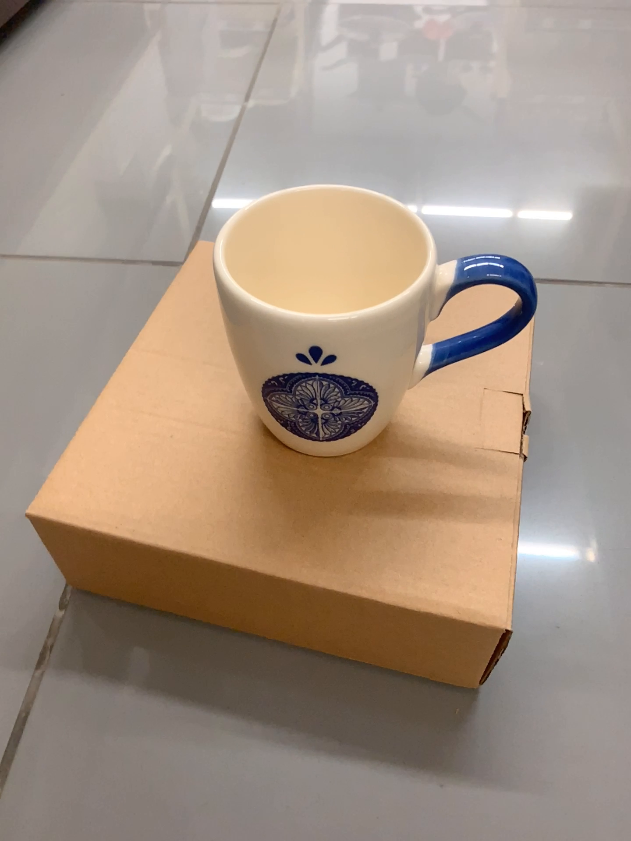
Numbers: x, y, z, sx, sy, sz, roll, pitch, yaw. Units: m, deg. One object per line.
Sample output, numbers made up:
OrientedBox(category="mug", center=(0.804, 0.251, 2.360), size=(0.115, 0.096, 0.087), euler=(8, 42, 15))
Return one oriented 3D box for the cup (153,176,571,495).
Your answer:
OrientedBox(category="cup", center=(0.020, -0.037, 0.282), size=(0.140, 0.090, 0.090), euler=(5, 50, 6))
